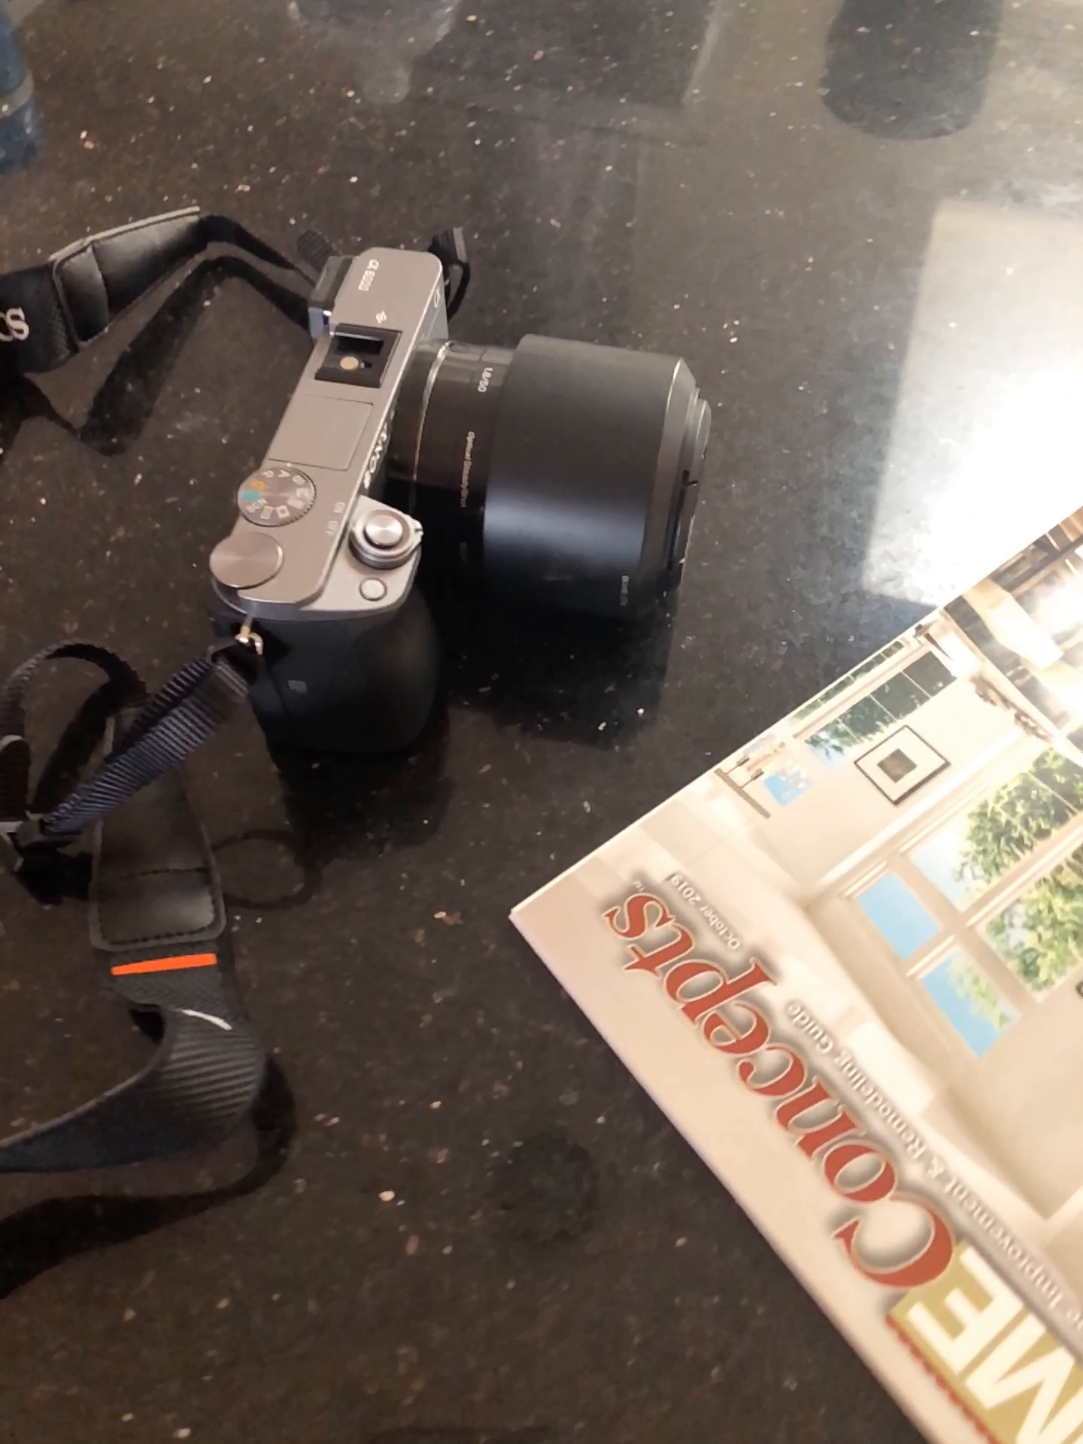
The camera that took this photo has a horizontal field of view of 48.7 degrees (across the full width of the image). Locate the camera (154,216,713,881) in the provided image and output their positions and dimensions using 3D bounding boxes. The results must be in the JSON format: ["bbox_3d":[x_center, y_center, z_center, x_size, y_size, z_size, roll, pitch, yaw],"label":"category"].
[{"bbox_3d":[-0.019,-0.045,0.320,0.099,0.100,0.127,11,59,6],"label":"camera"}]
